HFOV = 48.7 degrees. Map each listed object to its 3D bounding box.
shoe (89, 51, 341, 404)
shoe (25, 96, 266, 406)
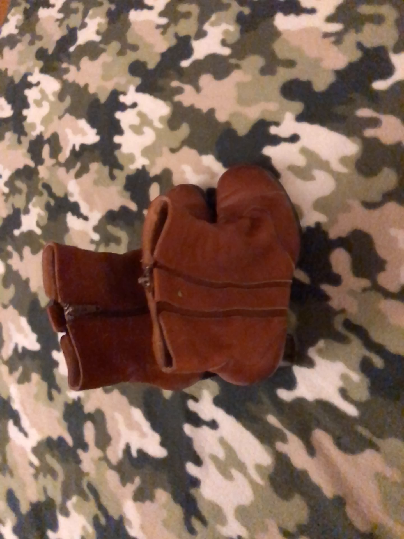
[{"bbox_3d":[0.016,-0.014,0.368,0.090,0.189,0.220,-19,69,31],"label":"shoe"},{"bbox_3d":[-0.047,-0.002,0.410,0.090,0.189,0.220,-22,68,30],"label":"shoe"}]
